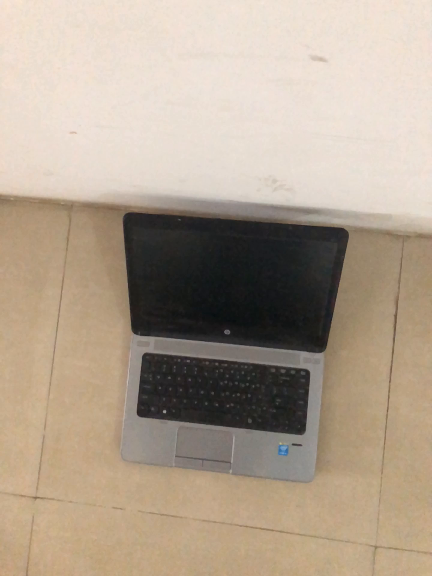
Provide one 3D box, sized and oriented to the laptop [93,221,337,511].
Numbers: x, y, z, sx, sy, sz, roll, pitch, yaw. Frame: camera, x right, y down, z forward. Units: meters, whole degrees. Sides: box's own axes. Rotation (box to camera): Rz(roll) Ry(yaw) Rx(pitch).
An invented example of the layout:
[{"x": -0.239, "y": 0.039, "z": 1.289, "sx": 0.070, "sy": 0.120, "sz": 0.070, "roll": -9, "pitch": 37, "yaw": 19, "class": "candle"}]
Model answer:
[{"x": 0.006, "y": 0.109, "z": 0.759, "sx": 0.318, "sy": 0.146, "sz": 0.385, "roll": 5, "pitch": 85, "yaw": 4, "class": "laptop"}]
